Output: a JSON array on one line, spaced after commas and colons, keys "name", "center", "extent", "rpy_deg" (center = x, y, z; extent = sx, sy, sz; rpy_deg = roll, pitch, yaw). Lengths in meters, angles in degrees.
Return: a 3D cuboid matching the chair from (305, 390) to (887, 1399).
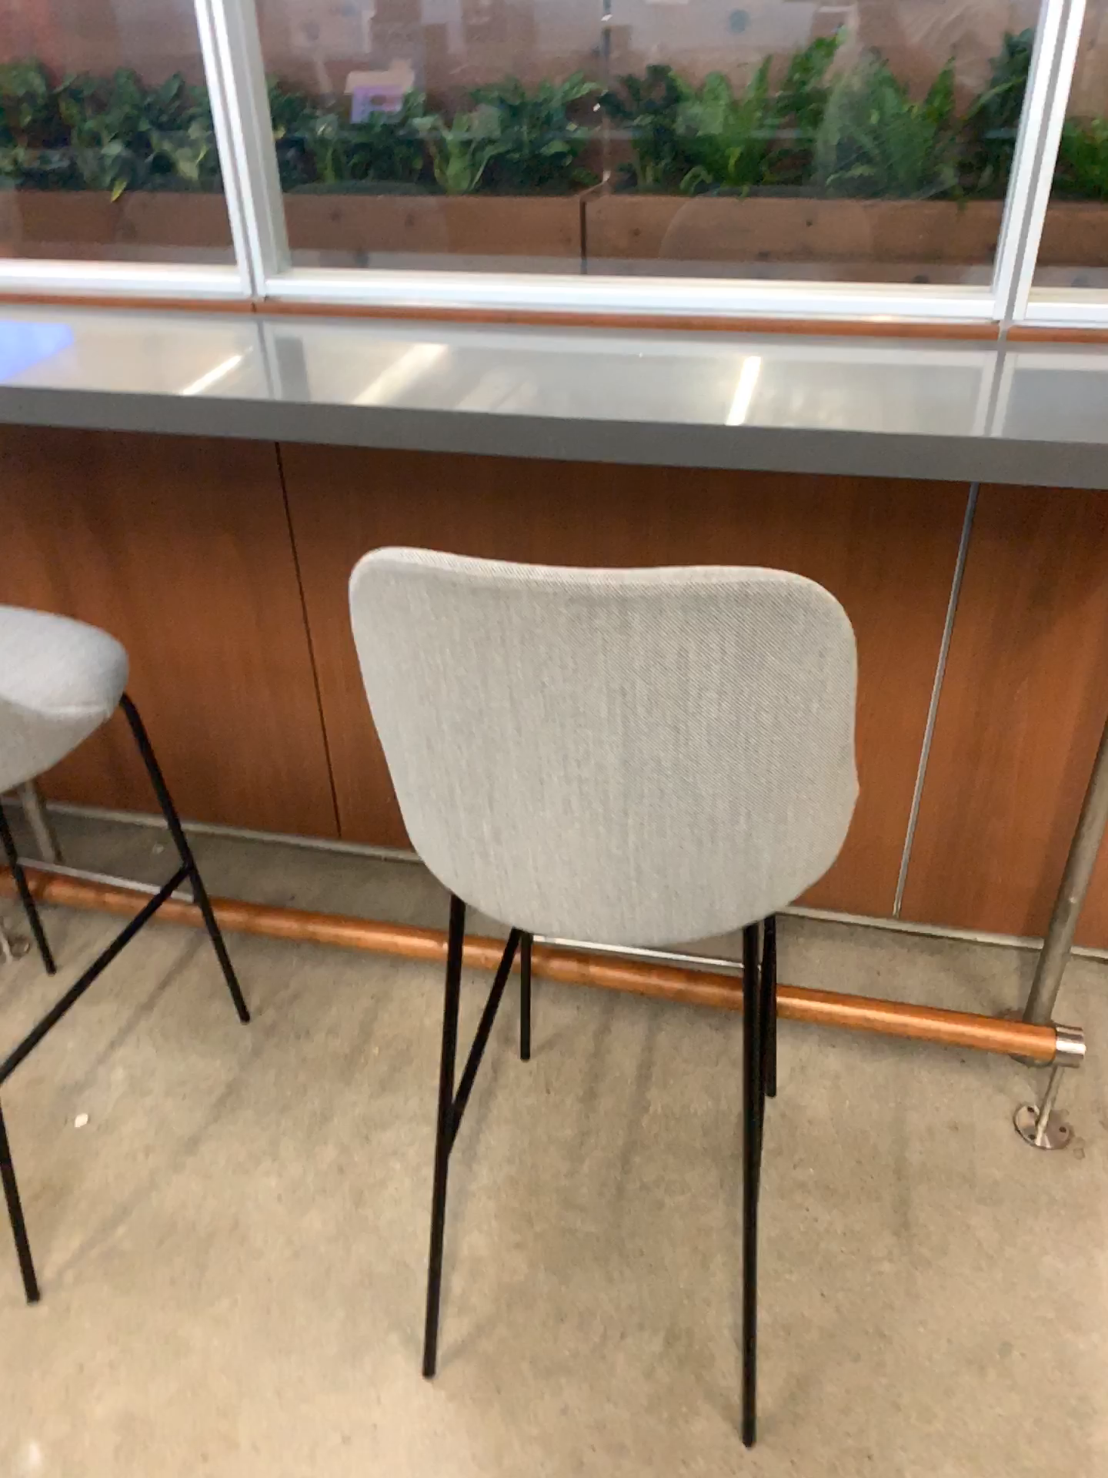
[{"name": "chair", "center": [0.063, 0.198, 1.285], "extent": [0.410, 1.034, 0.513], "rpy_deg": [2, 33, 6]}]
